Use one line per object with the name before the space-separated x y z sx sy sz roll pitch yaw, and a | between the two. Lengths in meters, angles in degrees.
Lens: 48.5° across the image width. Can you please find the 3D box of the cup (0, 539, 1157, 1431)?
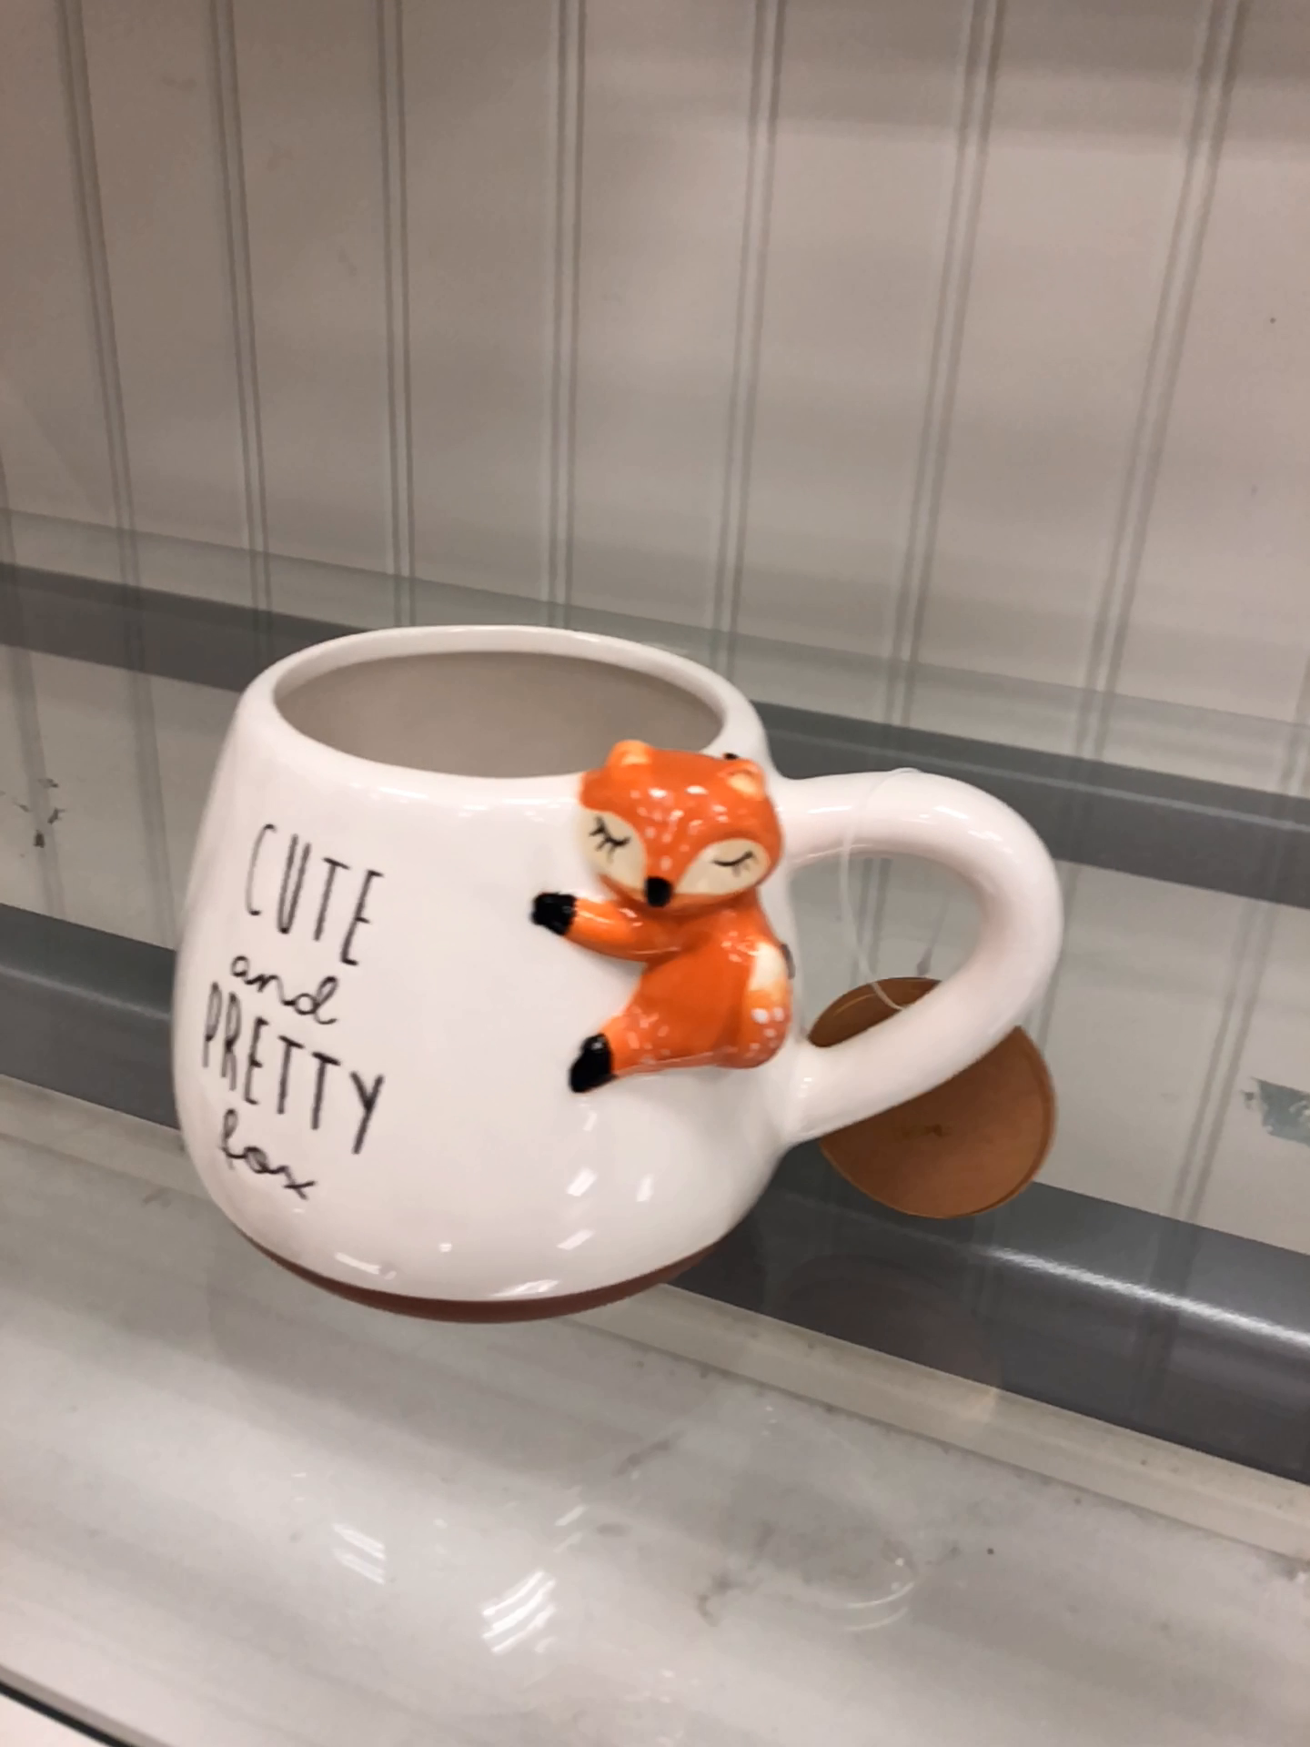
cup | -0.009 0.008 0.236 0.143 0.089 0.101 6 26 6
